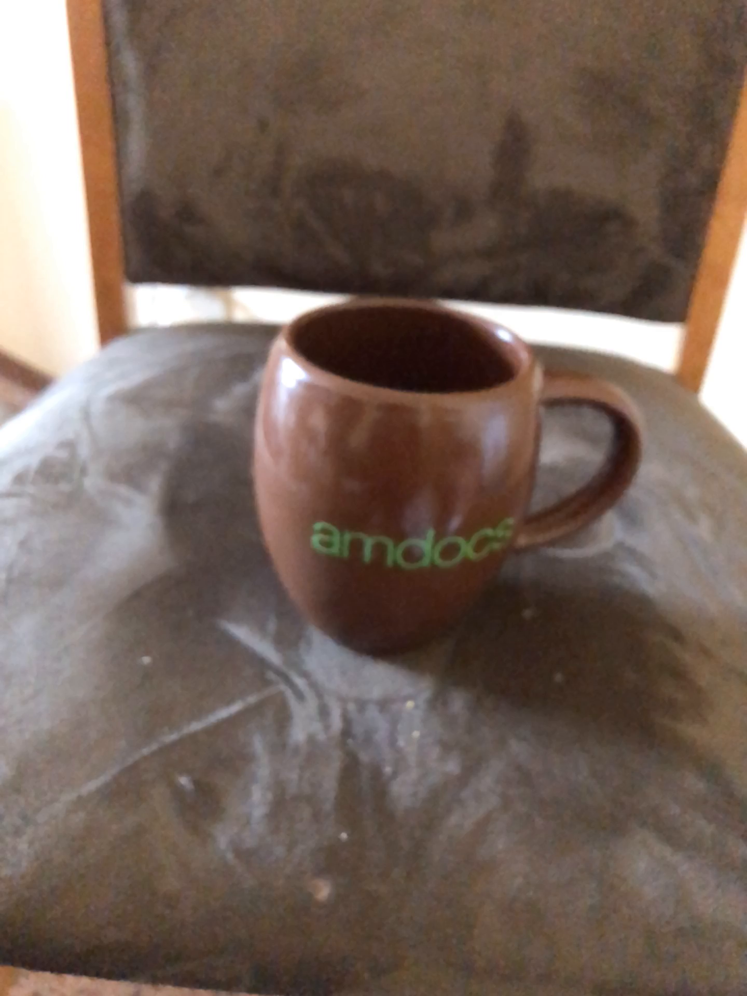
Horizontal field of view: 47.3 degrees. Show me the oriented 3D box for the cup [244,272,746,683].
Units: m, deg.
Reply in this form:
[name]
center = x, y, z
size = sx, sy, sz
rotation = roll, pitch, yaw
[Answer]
[cup]
center = 0.031, -0.007, 0.300
size = 0.140, 0.100, 0.090
rotation = 5, 33, -9
